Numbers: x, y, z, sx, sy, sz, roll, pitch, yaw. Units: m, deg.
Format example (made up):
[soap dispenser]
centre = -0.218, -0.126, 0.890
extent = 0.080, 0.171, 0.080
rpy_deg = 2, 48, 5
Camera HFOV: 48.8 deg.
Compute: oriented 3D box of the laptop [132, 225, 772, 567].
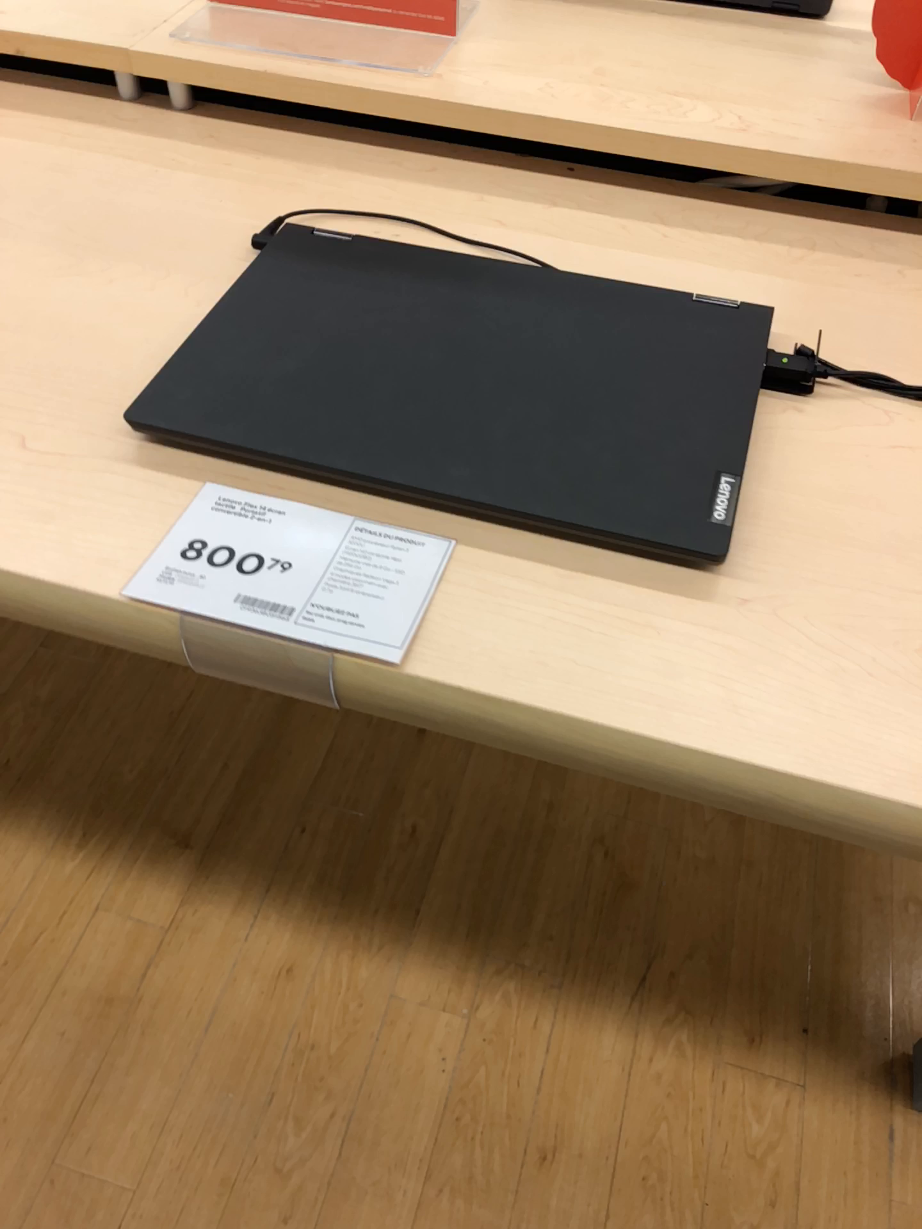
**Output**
[laptop]
centre = 0.007, -0.144, 0.602
extent = 0.326, 0.009, 0.212
rpy_deg = 14, 52, 9
